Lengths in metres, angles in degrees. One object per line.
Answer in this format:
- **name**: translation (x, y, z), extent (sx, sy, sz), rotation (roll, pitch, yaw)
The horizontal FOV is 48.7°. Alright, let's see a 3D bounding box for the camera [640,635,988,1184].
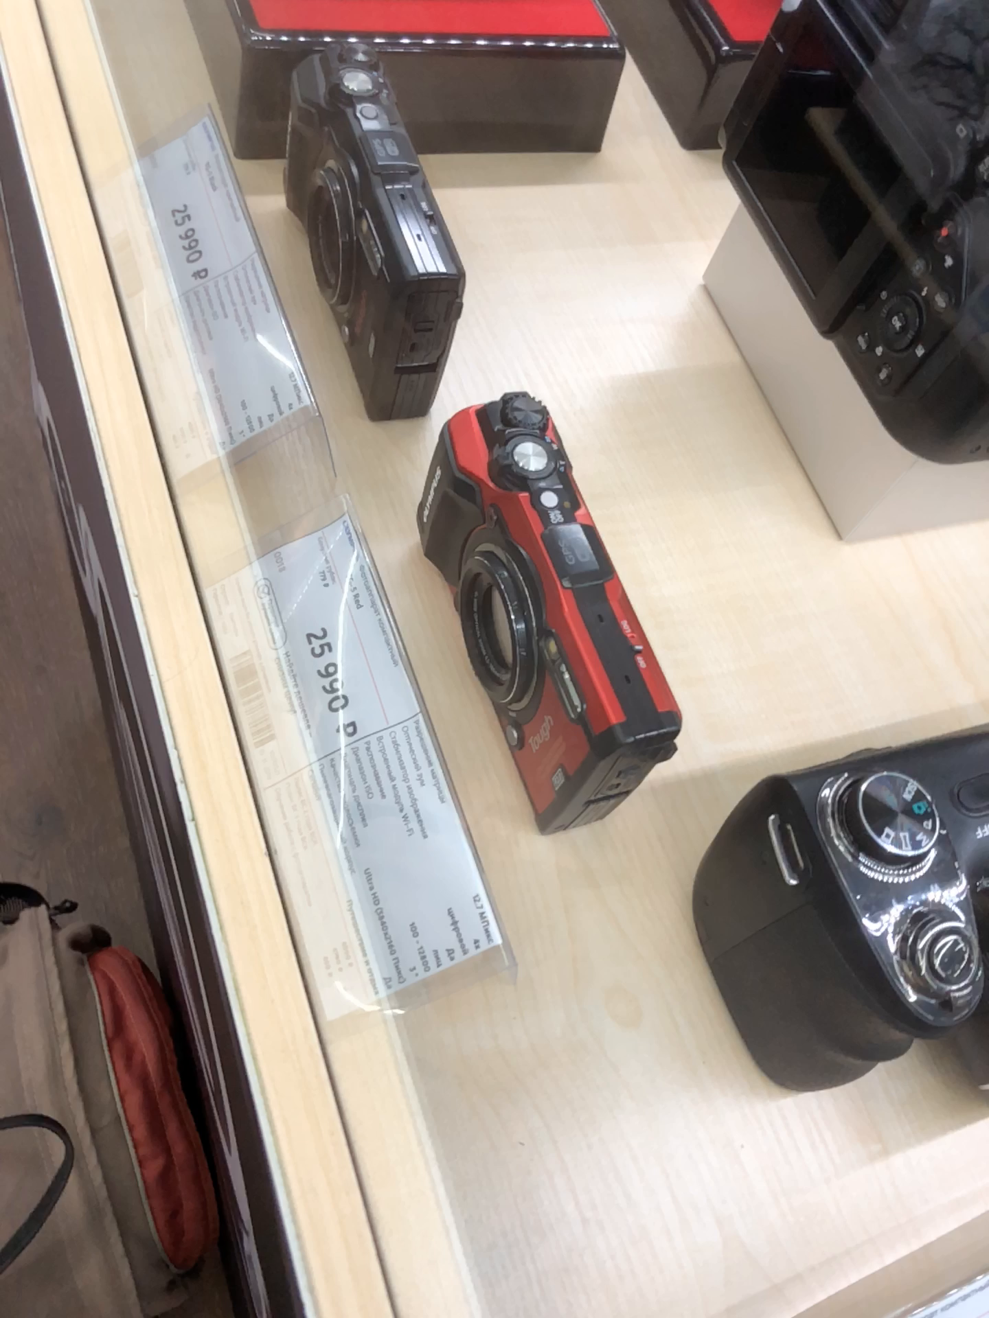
- **camera**: translation (0.119, 0.063, 0.282), extent (0.117, 0.078, 0.094), rotation (-11, 64, -21)

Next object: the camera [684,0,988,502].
- **camera**: translation (0.157, -0.140, 0.334), extent (0.127, 0.086, 0.147), rotation (-10, 64, -20)

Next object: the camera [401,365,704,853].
- **camera**: translation (0.010, -0.015, 0.306), extent (0.030, 0.061, 0.119), rotation (-11, 65, -21)

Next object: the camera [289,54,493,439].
- **camera**: translation (-0.040, -0.143, 0.378), extent (0.030, 0.061, 0.117), rotation (-11, 65, -21)
